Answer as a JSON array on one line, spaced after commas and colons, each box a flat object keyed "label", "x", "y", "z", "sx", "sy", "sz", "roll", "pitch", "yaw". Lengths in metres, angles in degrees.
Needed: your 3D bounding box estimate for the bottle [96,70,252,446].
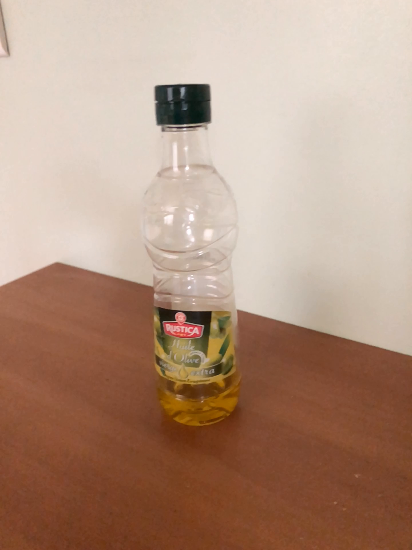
[{"label": "bottle", "x": -0.011, "y": -0.008, "z": 0.313, "sx": 0.070, "sy": 0.239, "sz": 0.070, "roll": -2, "pitch": 23, "yaw": 1}]
